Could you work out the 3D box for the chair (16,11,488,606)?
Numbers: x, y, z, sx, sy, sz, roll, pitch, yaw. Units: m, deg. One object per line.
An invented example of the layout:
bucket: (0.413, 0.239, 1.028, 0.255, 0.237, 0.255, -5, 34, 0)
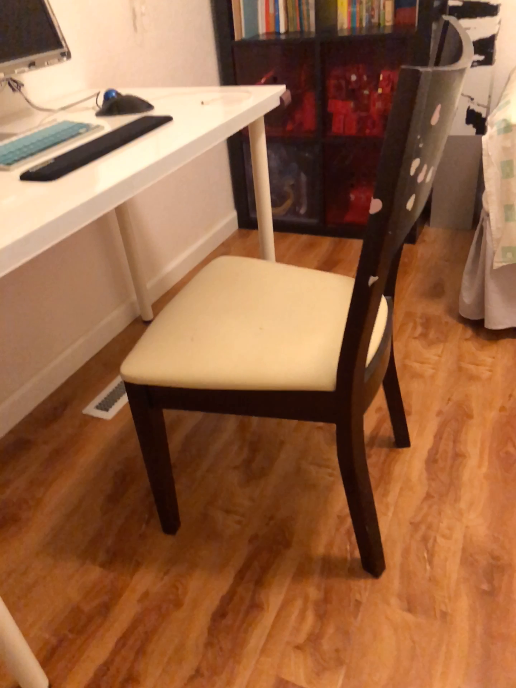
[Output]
chair: (0.069, -0.079, 1.021, 0.511, 0.845, 0.533, 8, 36, 17)
